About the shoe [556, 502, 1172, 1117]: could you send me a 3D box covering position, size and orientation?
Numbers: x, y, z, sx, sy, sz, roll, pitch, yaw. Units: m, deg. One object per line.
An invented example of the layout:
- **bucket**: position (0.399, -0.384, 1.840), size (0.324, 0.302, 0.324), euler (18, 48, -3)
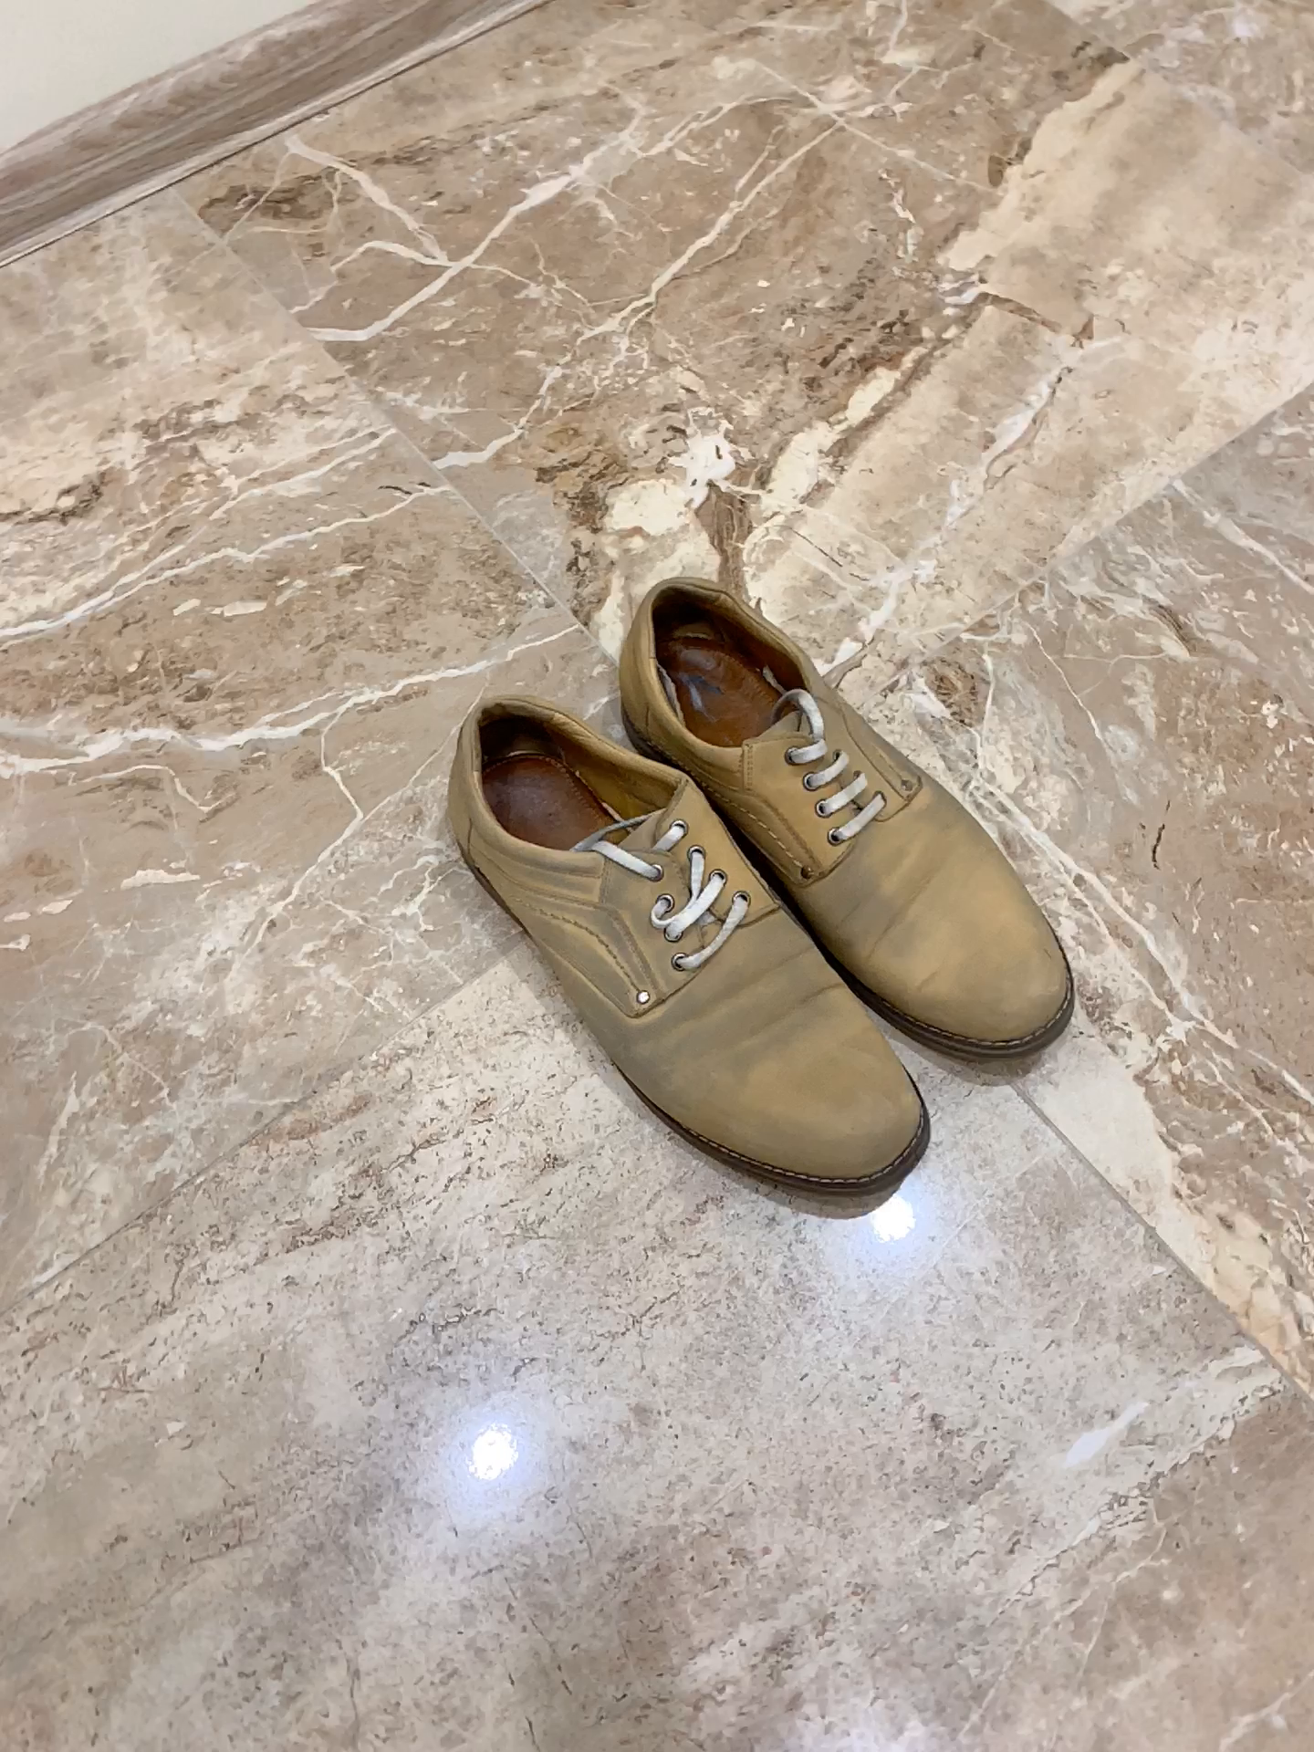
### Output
- **shoe**: position (0.084, -0.038, 0.625), size (0.110, 0.070, 0.280), euler (-37, 70, -16)

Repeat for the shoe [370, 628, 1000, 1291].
- **shoe**: position (0.004, 0.031, 0.600), size (0.110, 0.080, 0.280), euler (-37, 70, -16)
